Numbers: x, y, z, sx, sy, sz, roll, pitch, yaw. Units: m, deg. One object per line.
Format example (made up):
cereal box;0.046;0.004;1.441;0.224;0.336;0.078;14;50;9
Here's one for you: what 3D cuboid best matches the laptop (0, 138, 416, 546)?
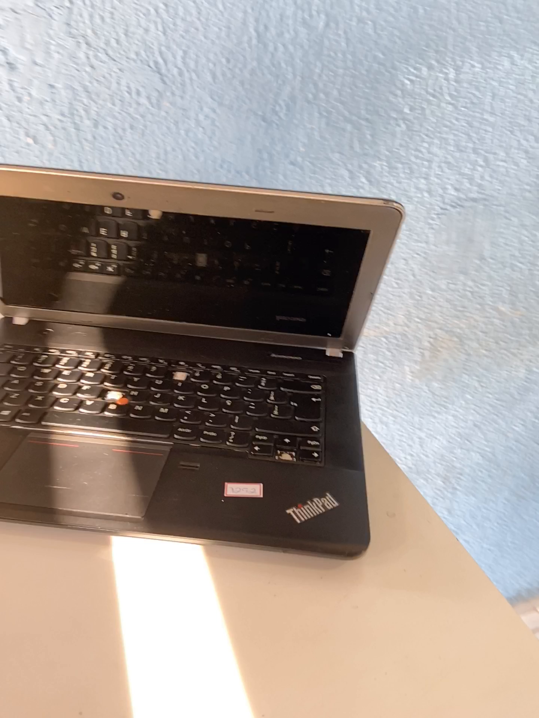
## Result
laptop;-0.094;-0.038;0.384;0.330;0.165;0.232;5;29;3
